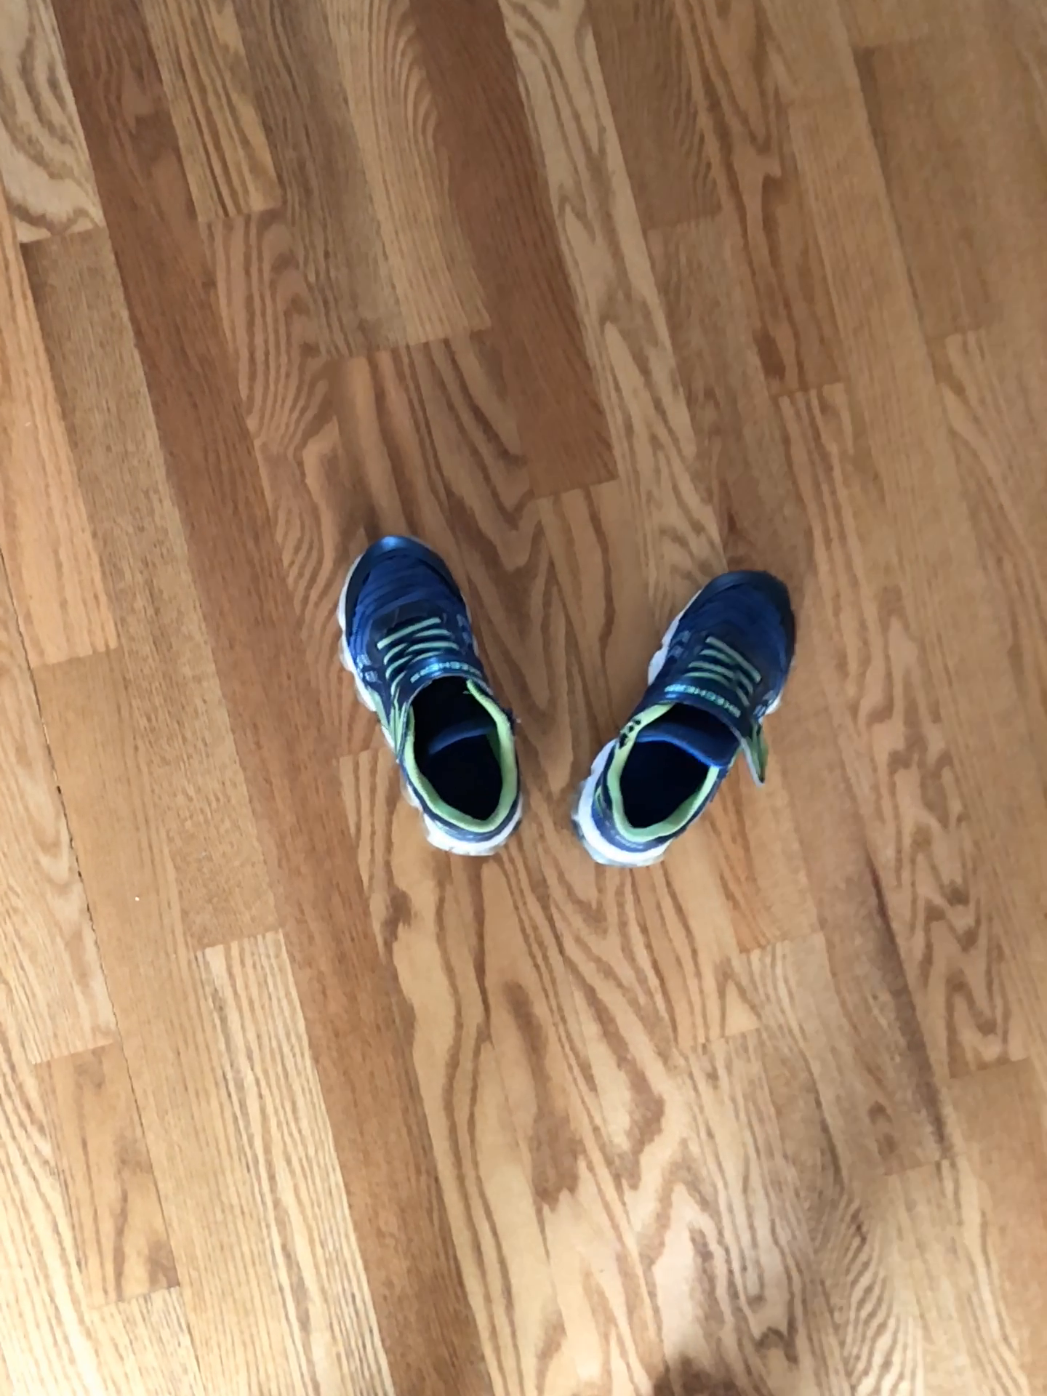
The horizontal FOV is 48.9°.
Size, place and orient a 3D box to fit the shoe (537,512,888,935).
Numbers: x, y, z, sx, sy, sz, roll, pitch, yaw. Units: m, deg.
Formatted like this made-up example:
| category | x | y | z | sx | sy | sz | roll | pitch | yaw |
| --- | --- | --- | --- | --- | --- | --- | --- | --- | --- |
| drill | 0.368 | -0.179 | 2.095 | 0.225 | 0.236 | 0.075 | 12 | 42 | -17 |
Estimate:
| category | x | y | z | sx | sy | sz | roll | pitch | yaw |
| --- | --- | --- | --- | --- | --- | --- | --- | --- | --- |
| shoe | 0.105 | 0.015 | 0.669 | 0.093 | 0.087 | 0.212 | 30 | 86 | -3 |

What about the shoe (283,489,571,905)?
| category | x | y | z | sx | sy | sz | roll | pitch | yaw |
| --- | --- | --- | --- | --- | --- | --- | --- | --- | --- |
| shoe | -0.055 | 0.000 | 0.660 | 0.093 | 0.095 | 0.203 | -19 | 89 | -5 |
